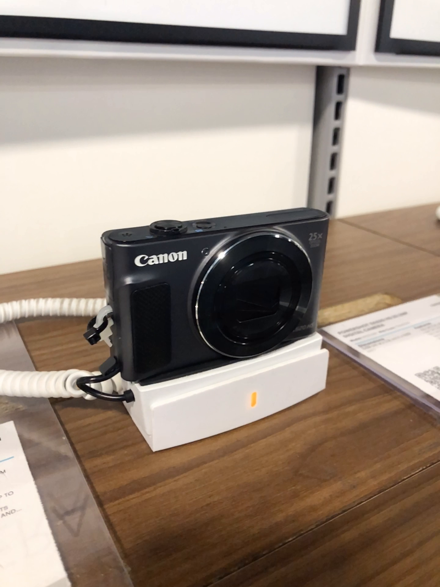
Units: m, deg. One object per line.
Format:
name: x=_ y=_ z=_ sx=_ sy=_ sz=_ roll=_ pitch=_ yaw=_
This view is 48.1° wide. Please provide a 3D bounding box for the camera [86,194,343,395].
camera: x=0.000 y=-0.005 z=0.206 sx=0.100 sy=0.060 sz=0.030 roll=-12 pitch=25 yaw=-28
